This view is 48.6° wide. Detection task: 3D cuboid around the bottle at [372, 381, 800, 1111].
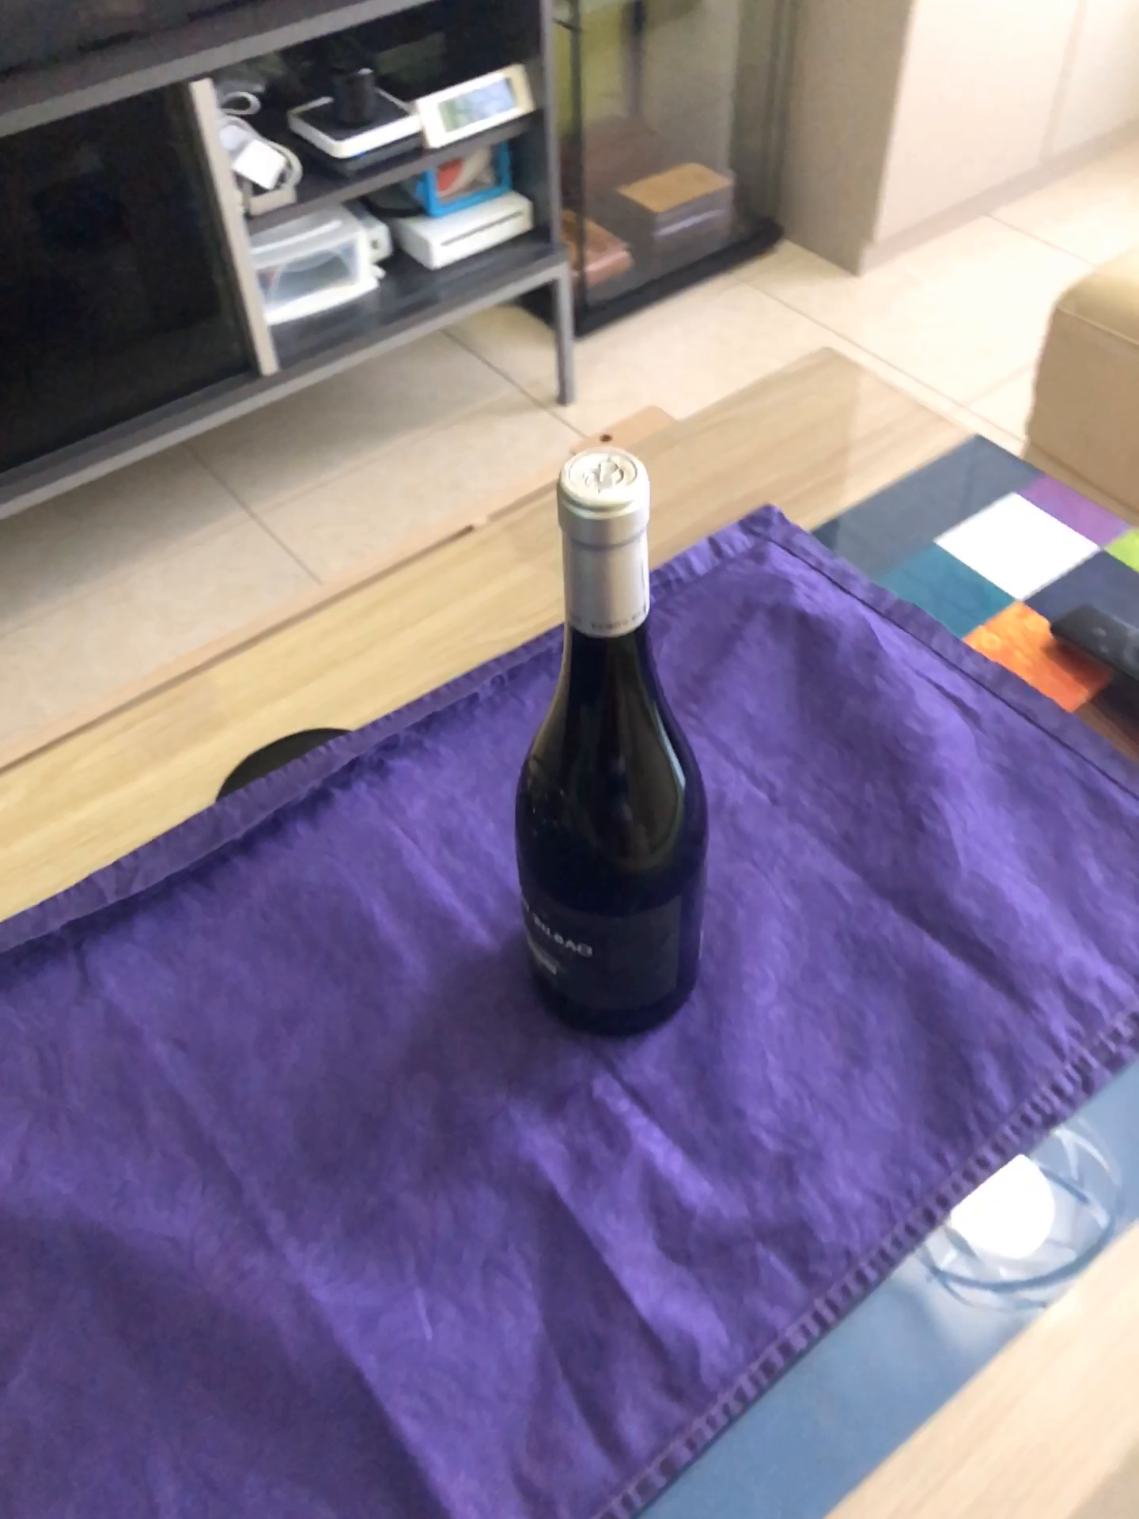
[{"bbox_3d":[0.005,0.013,0.468,0.100,0.269,0.100,-1,50,1],"label":"bottle"}]
